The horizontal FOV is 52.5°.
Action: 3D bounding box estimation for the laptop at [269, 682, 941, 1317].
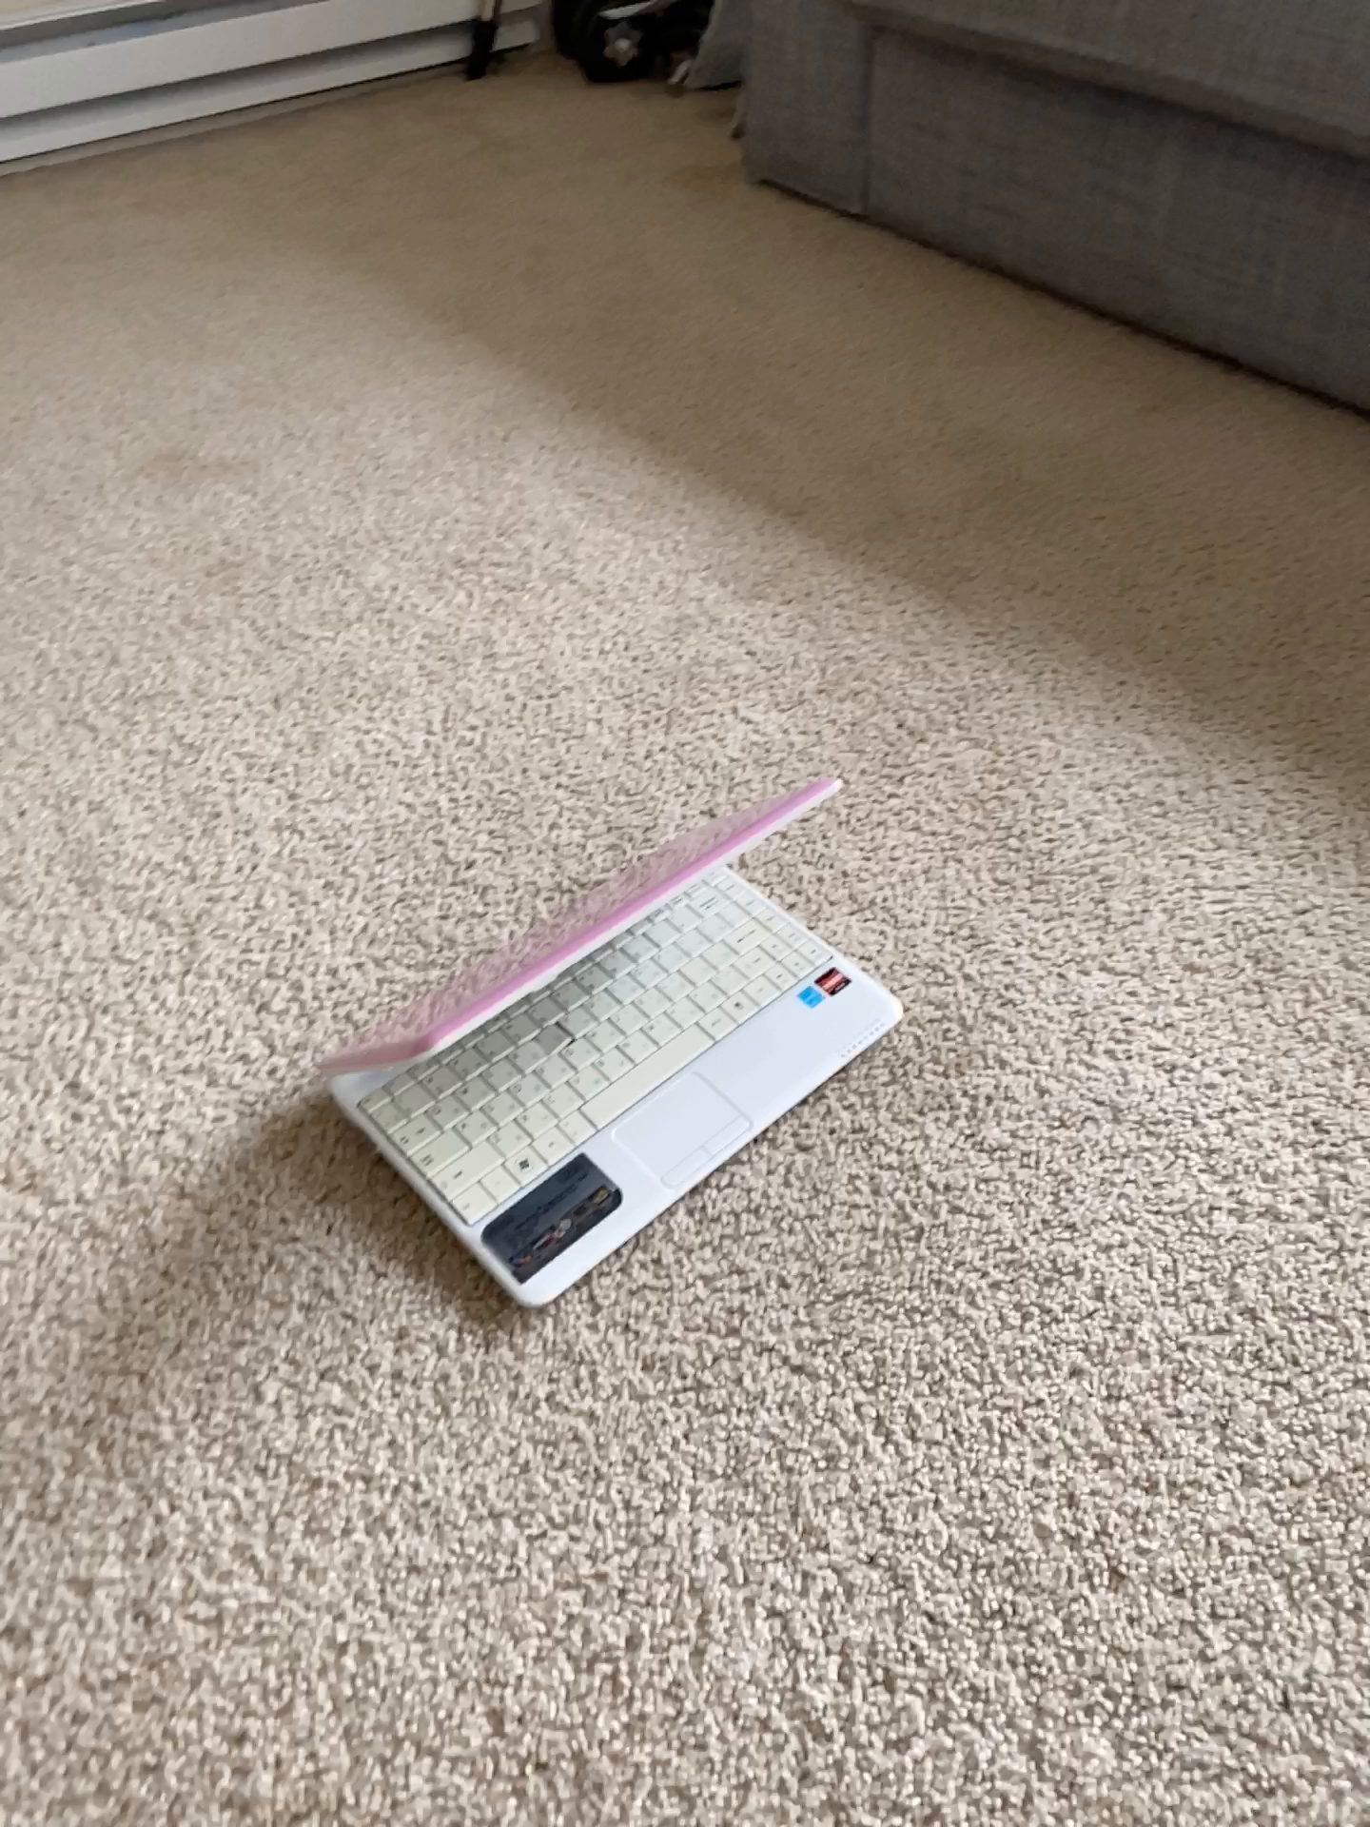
[{"bbox_3d":[-0.036,0.031,0.777,0.297,0.122,0.198,-34,56,-27],"label":"laptop"}]
